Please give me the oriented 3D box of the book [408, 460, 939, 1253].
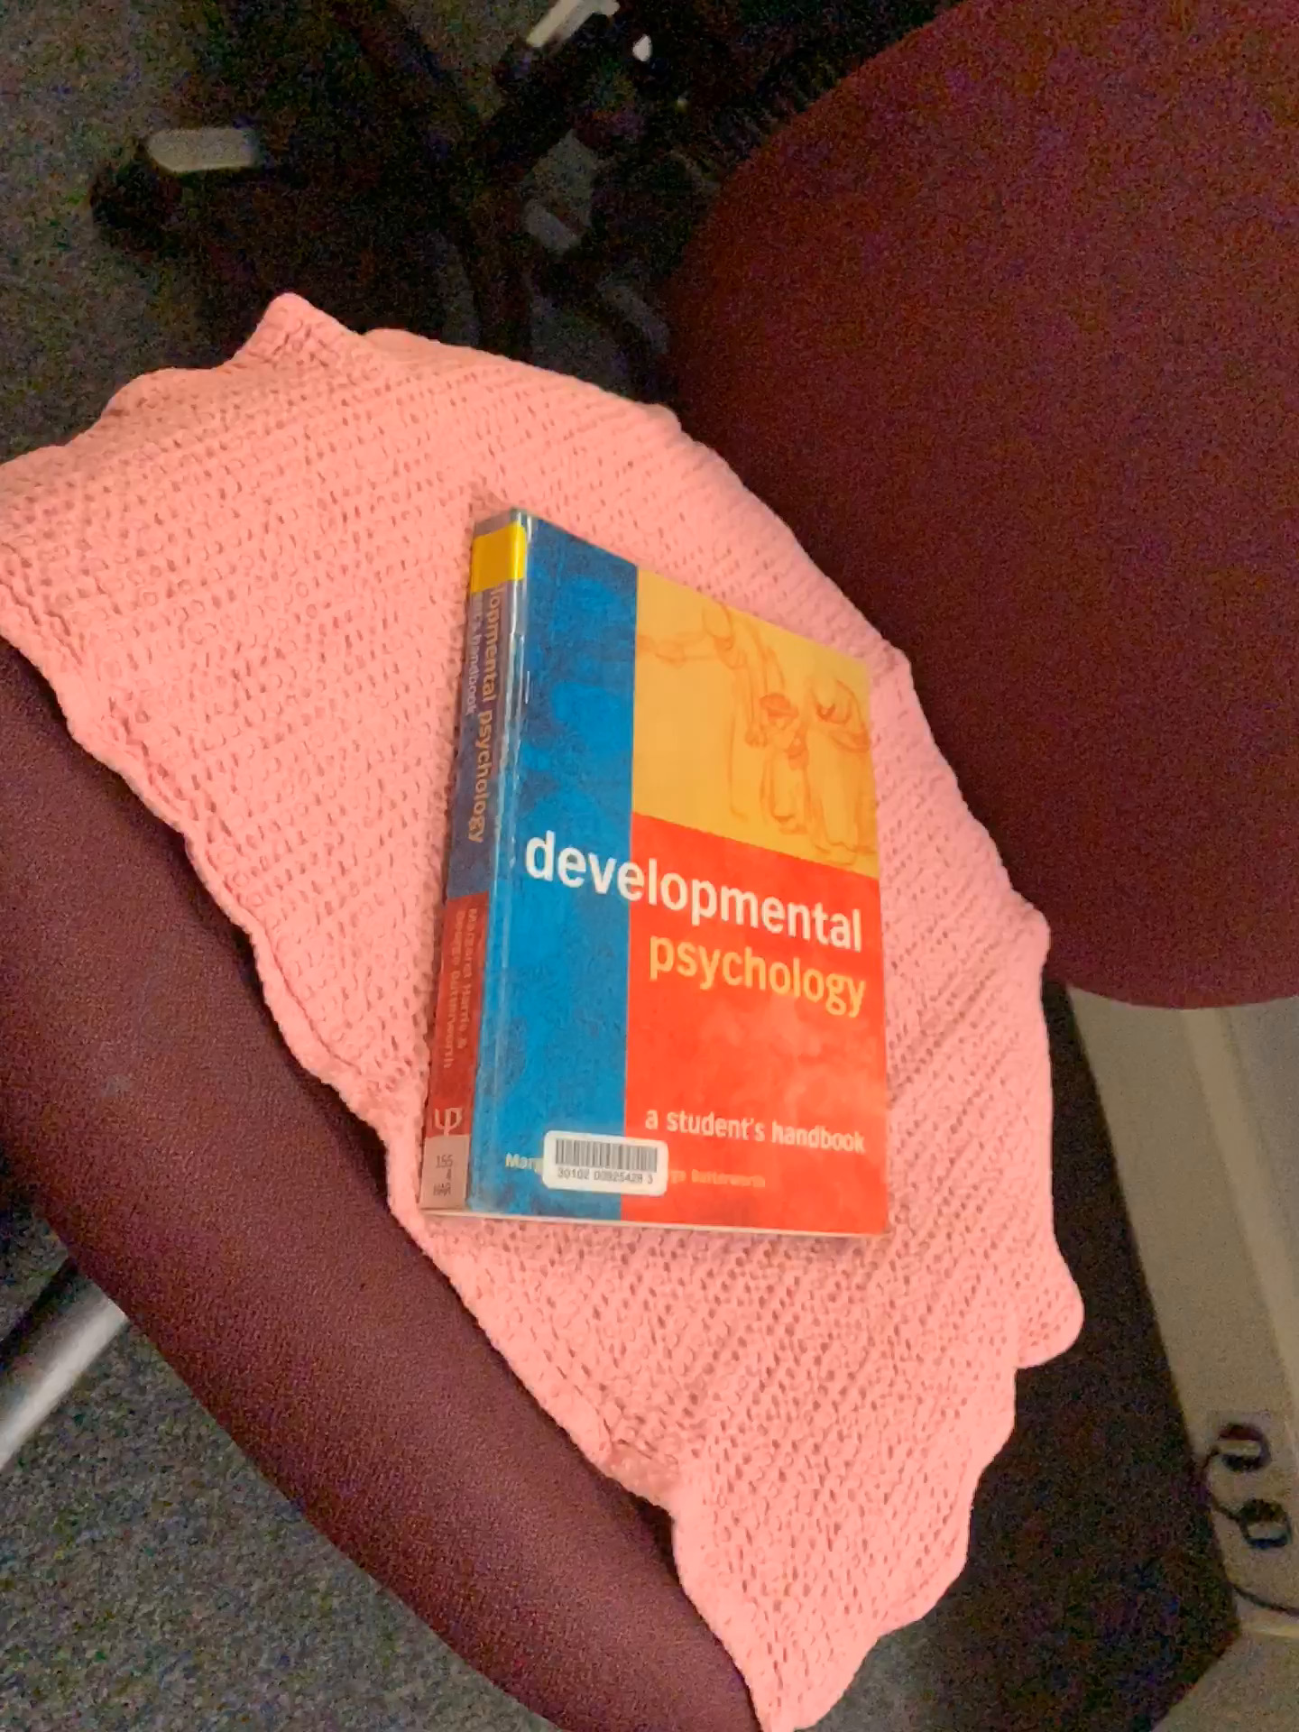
[{"bbox_3d":[0.017,0.008,0.502,0.211,0.040,0.261,15,66,-39],"label":"book"}]
